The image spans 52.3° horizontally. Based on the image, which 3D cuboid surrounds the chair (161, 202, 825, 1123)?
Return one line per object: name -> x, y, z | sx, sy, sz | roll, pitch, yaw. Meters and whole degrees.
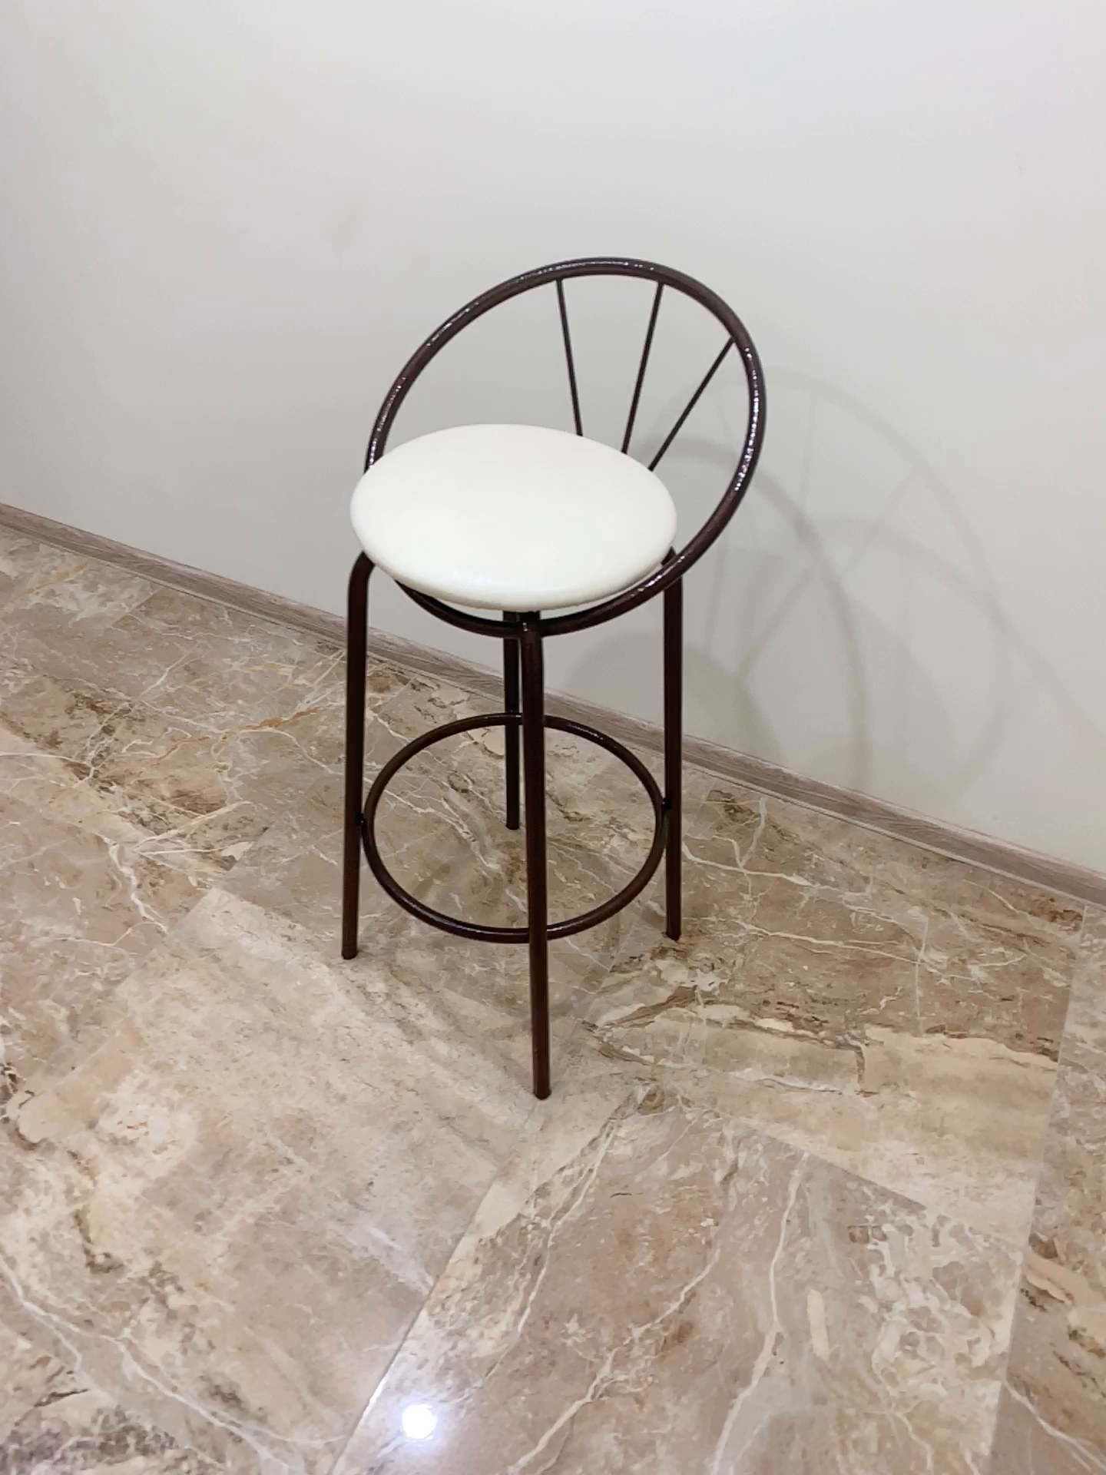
chair -> -0.052, -0.055, 1.235 | 0.401, 0.835, 0.401 | 28, 48, 27
